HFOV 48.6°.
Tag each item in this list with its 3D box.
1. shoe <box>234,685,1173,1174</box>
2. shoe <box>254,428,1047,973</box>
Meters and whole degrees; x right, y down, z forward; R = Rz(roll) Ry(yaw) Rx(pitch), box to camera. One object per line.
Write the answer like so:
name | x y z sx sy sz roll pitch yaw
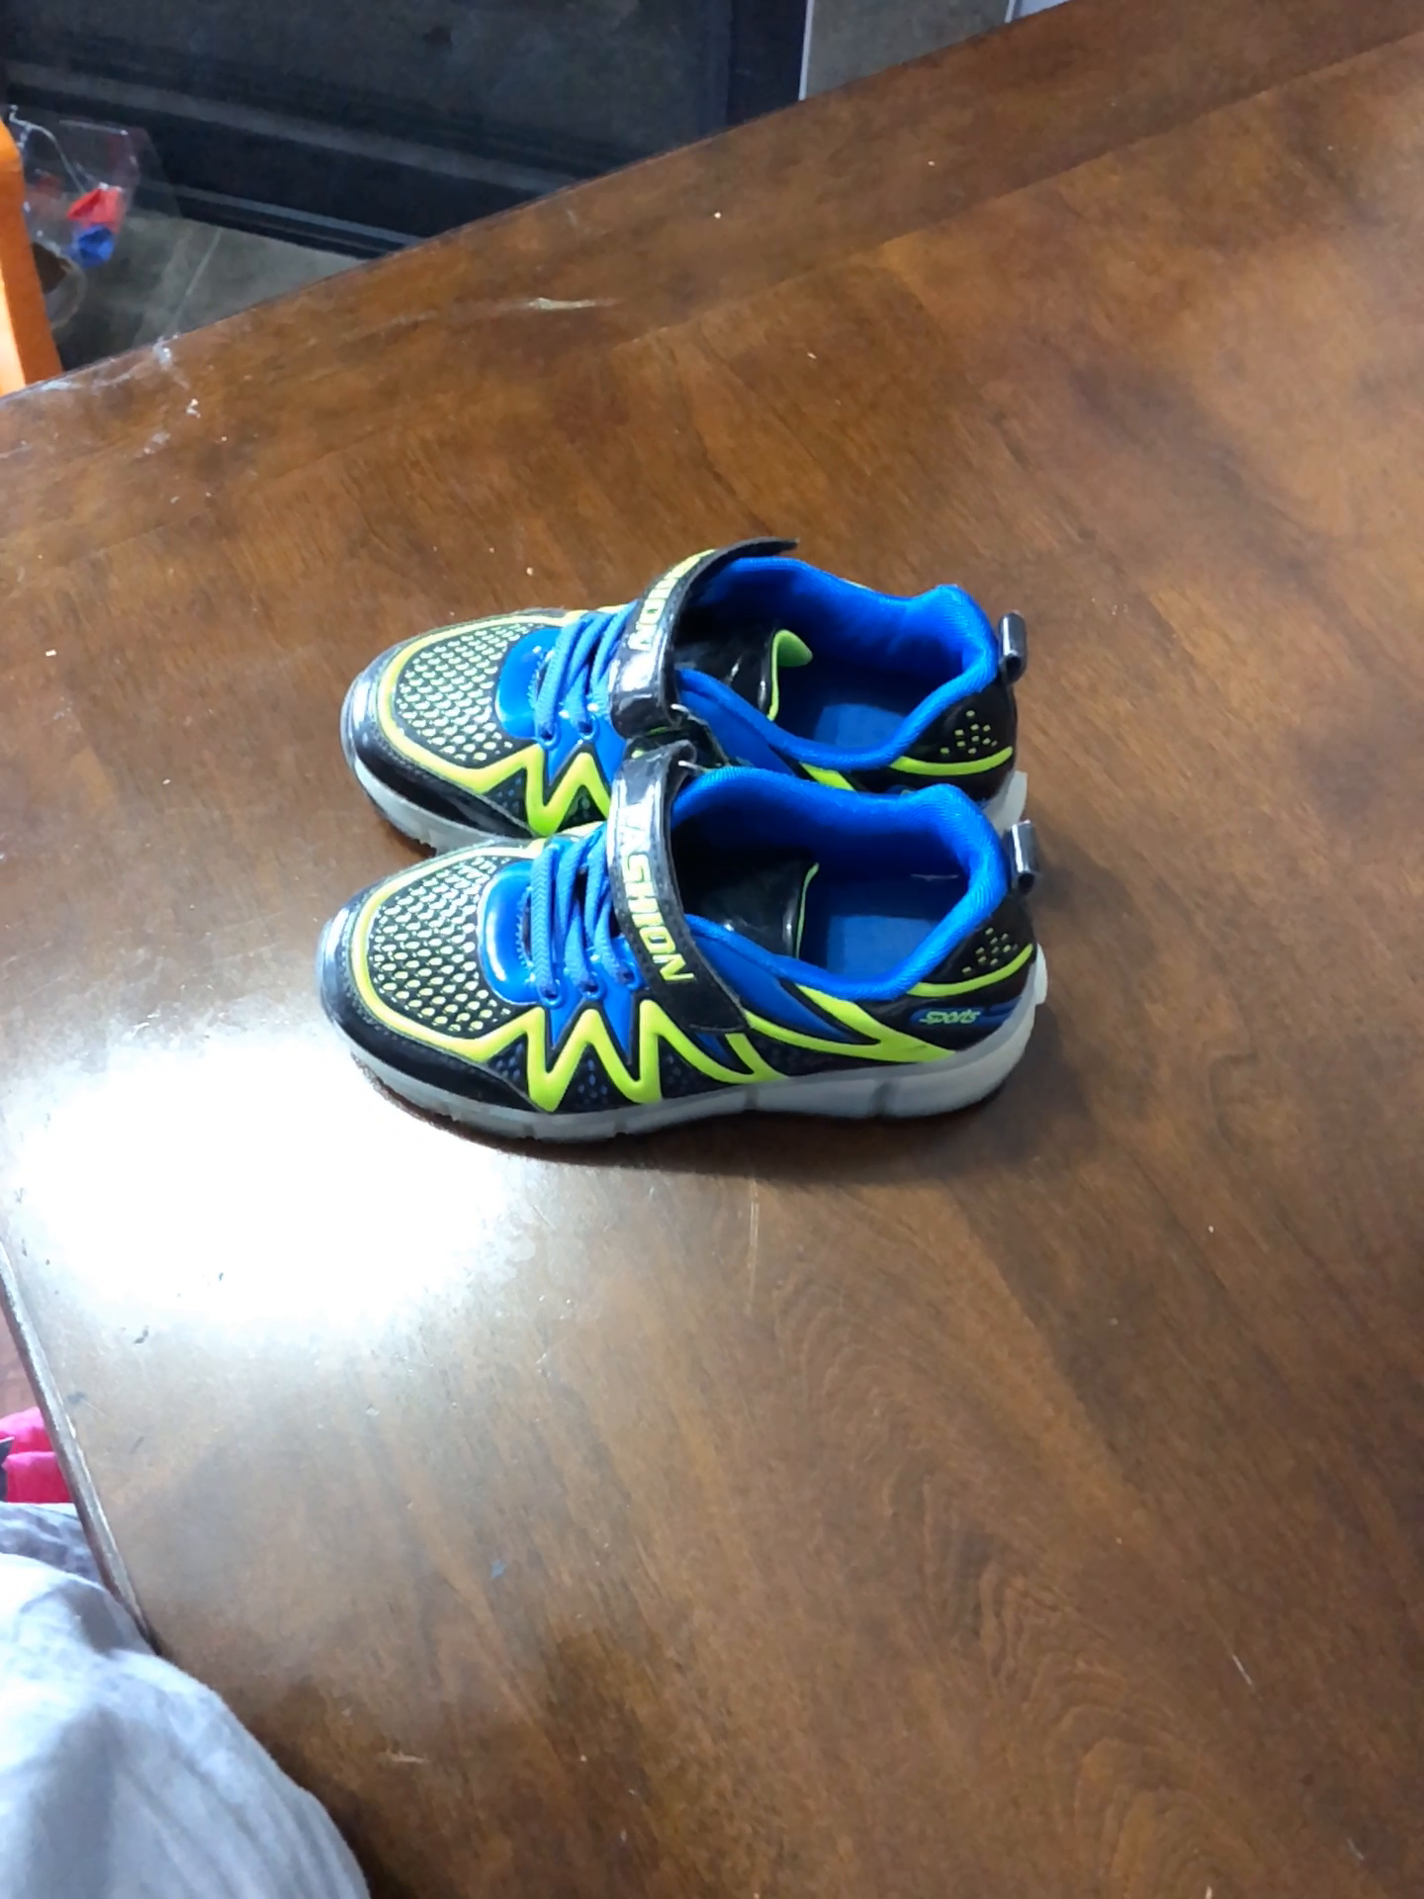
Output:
shoe | -0.005 -0.001 0.458 0.230 0.120 0.090 -3 67 -3
shoe | -0.014 -0.072 0.492 0.210 0.120 0.100 6 66 1
